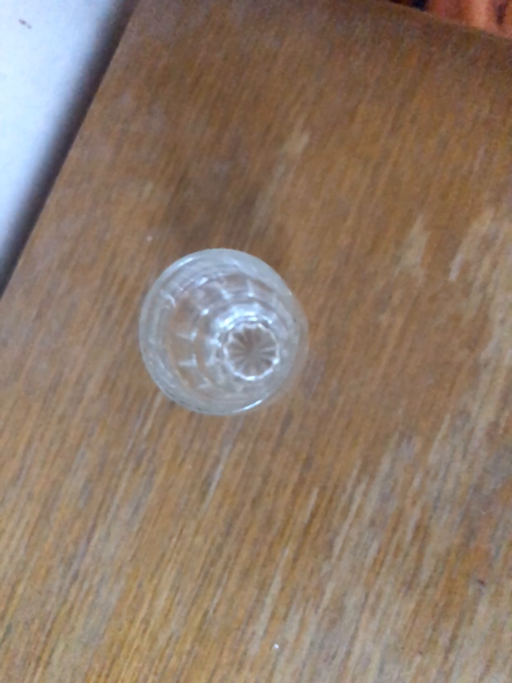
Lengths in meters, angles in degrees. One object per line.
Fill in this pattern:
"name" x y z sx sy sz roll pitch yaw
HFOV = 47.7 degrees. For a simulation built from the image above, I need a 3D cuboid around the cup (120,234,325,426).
"cup" -0.007 0.000 0.225 0.060 0.070 0.060 -2 80 10
